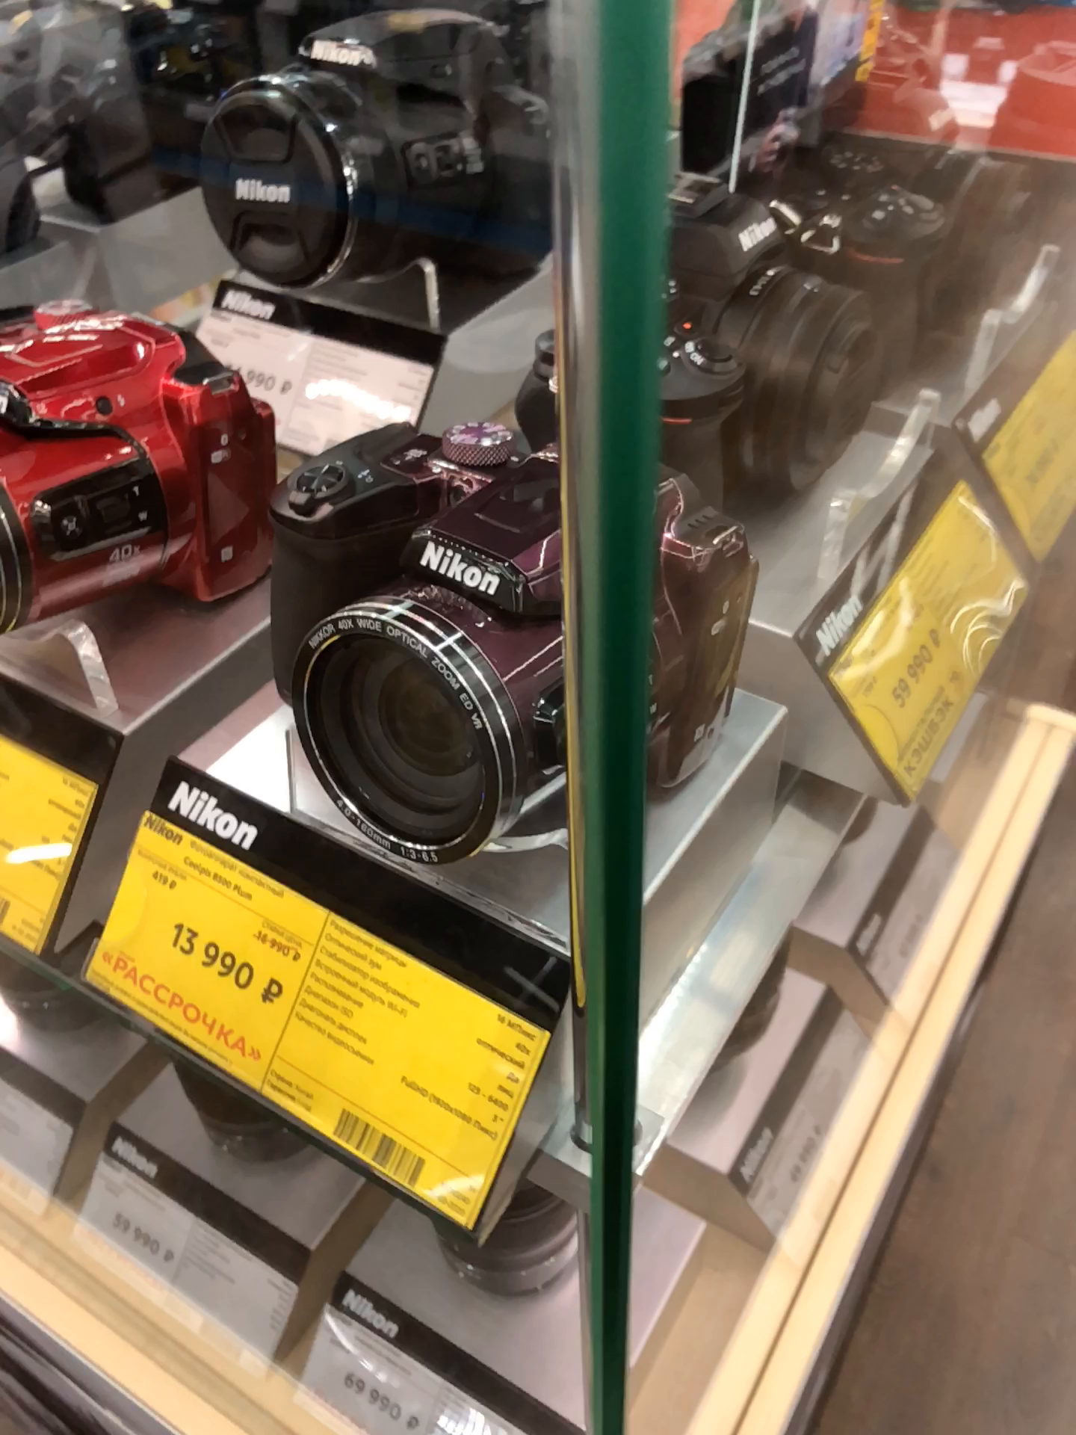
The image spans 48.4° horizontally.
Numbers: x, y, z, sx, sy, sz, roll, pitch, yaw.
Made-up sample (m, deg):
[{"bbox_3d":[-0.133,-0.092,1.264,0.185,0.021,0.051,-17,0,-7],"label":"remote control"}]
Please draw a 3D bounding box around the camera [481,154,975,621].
[{"bbox_3d":[0.063,-0.116,0.397,0.100,0.084,0.134,24,48,26],"label":"camera"}]

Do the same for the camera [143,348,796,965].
[{"bbox_3d":[-0.013,-0.022,0.297,0.109,0.080,0.100,24,48,26],"label":"camera"}]
